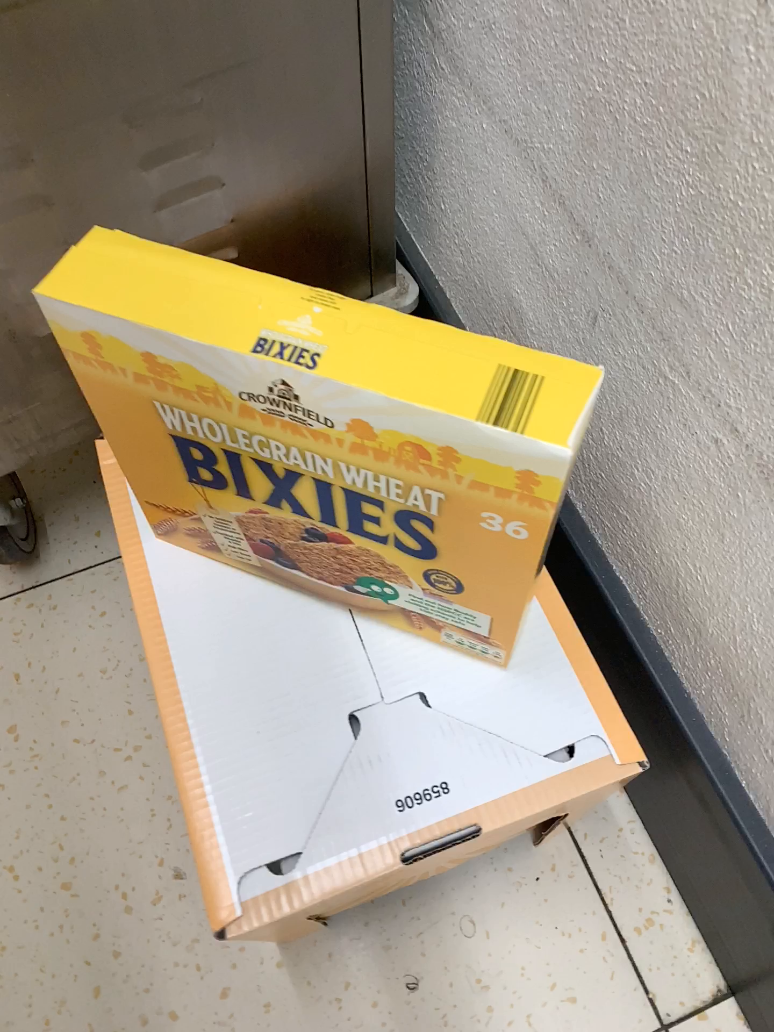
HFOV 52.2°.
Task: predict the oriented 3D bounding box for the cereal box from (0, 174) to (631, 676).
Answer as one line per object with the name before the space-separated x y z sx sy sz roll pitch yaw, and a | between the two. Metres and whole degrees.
cereal box | -0.039 -0.031 0.475 0.290 0.278 0.070 19 63 12
